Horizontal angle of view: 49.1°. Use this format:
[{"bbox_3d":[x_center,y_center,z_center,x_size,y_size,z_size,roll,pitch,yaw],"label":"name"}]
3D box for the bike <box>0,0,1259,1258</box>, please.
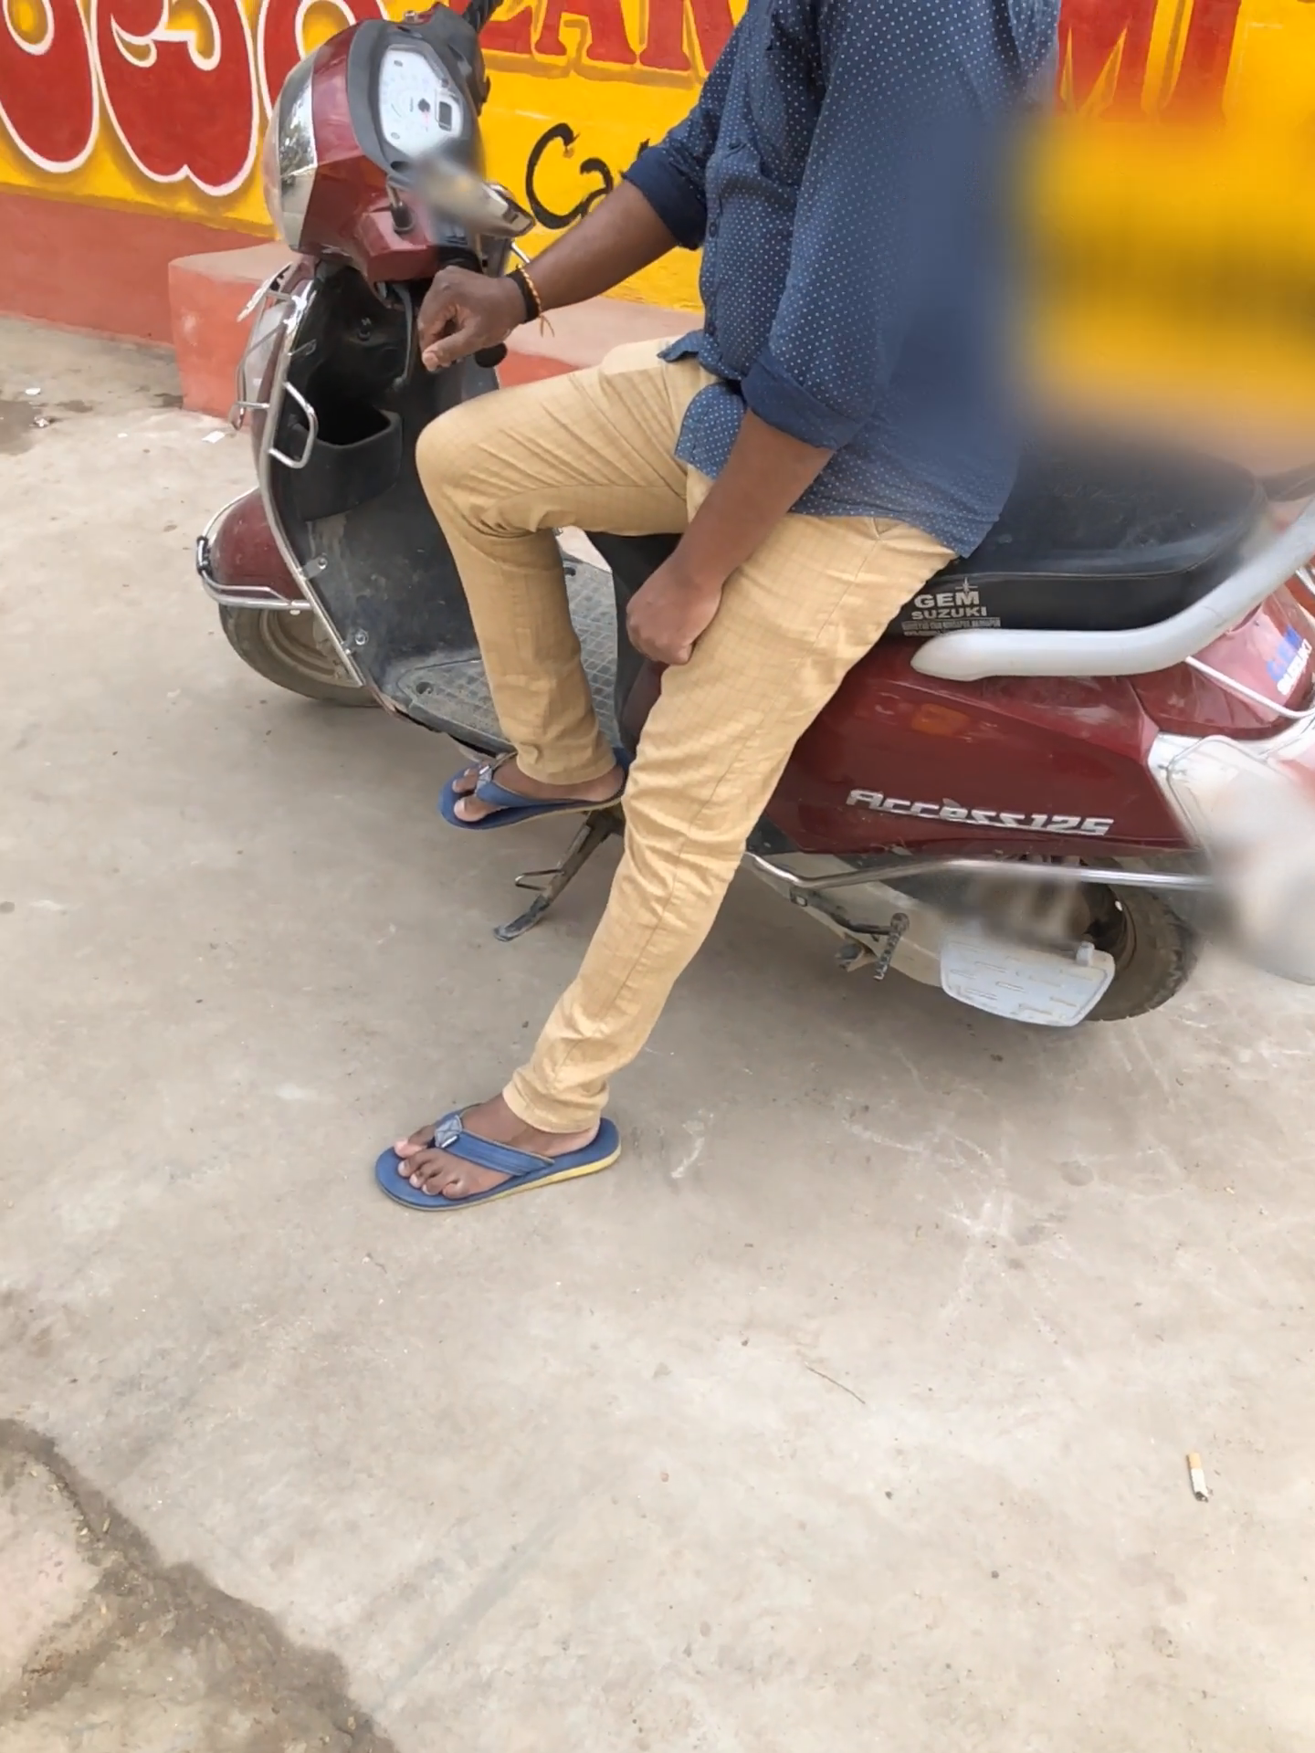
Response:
[{"bbox_3d":[-0.227,-0.392,1.702,1.376,1.087,0.632,19,37,20],"label":"bike"}]
